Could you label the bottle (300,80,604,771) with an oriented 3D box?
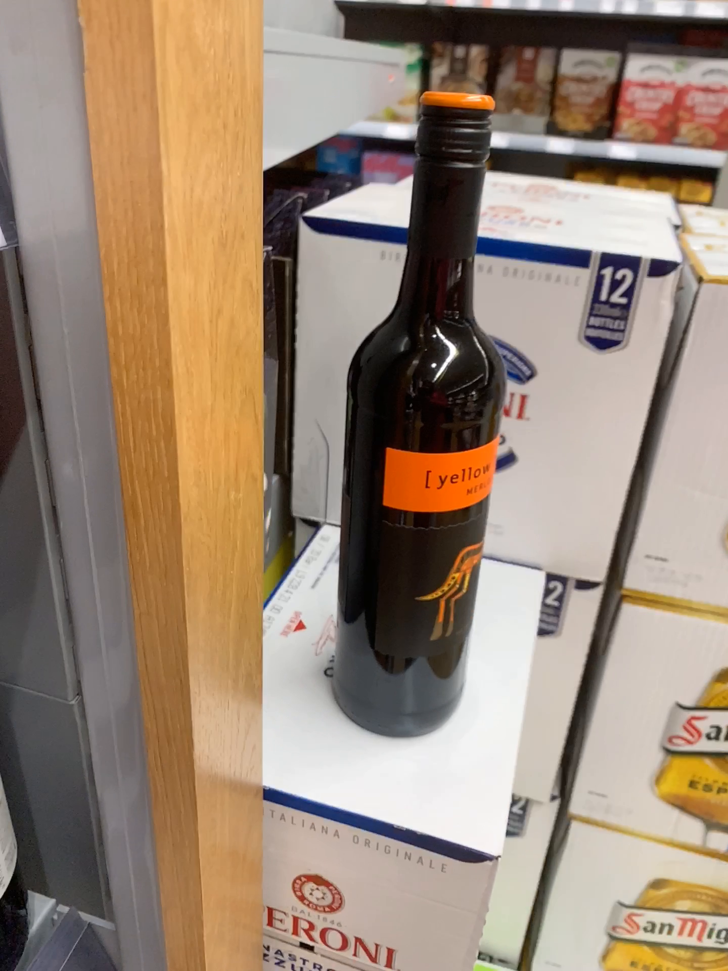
[{"bbox_3d":[0.029,-0.017,0.353,0.076,0.297,0.078,3,27,-2],"label":"bottle"}]
